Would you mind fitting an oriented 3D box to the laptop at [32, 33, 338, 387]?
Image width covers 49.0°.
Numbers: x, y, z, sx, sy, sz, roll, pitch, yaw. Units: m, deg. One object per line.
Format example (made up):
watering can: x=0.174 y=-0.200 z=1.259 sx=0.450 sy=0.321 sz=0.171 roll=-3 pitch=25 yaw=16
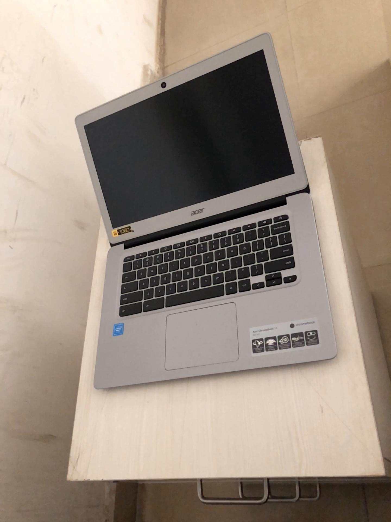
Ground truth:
laptop: x=-0.019 y=-0.063 z=0.593 sx=0.332 sy=0.126 sz=0.409 roll=-14 pitch=59 yaw=23
